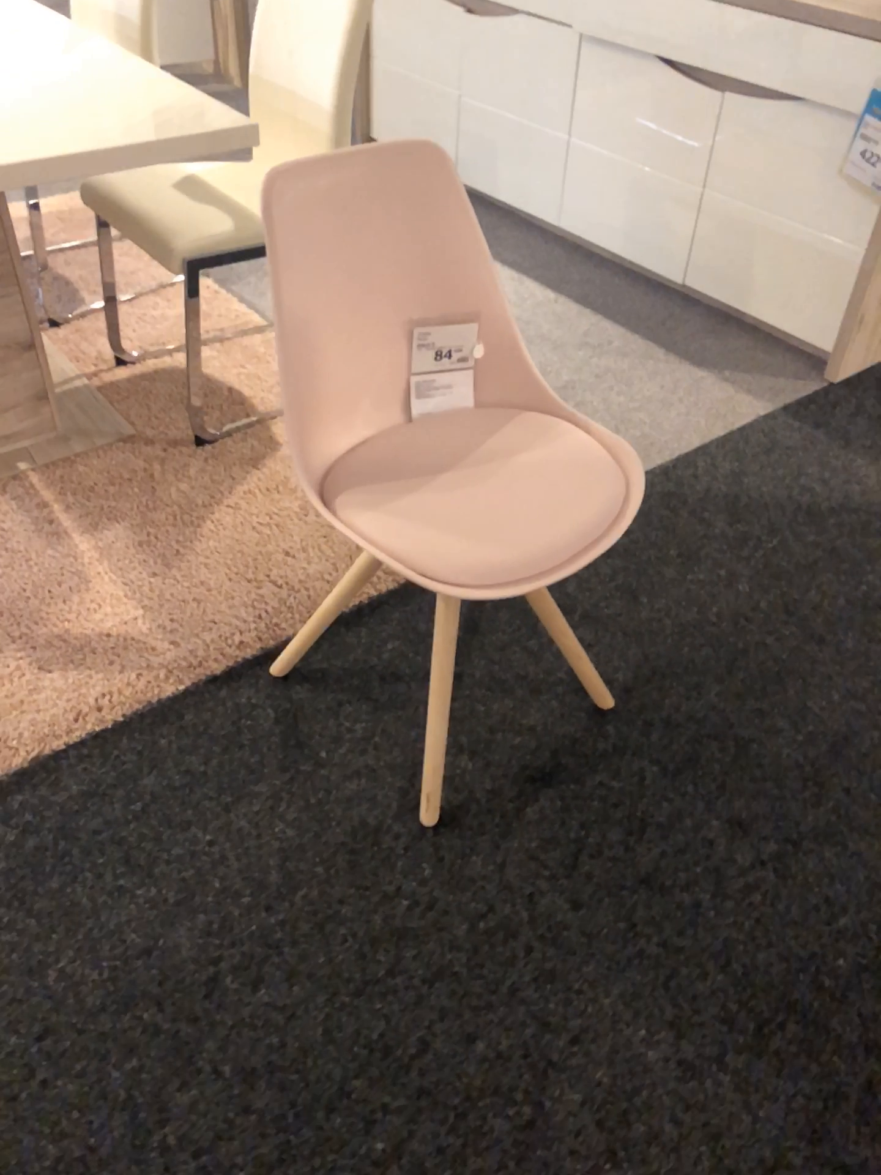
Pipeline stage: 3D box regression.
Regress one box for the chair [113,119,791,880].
[{"bbox_3d":[-0.008,-0.148,1.379,0.573,0.765,0.561,-26,49,-30],"label":"chair"}]
